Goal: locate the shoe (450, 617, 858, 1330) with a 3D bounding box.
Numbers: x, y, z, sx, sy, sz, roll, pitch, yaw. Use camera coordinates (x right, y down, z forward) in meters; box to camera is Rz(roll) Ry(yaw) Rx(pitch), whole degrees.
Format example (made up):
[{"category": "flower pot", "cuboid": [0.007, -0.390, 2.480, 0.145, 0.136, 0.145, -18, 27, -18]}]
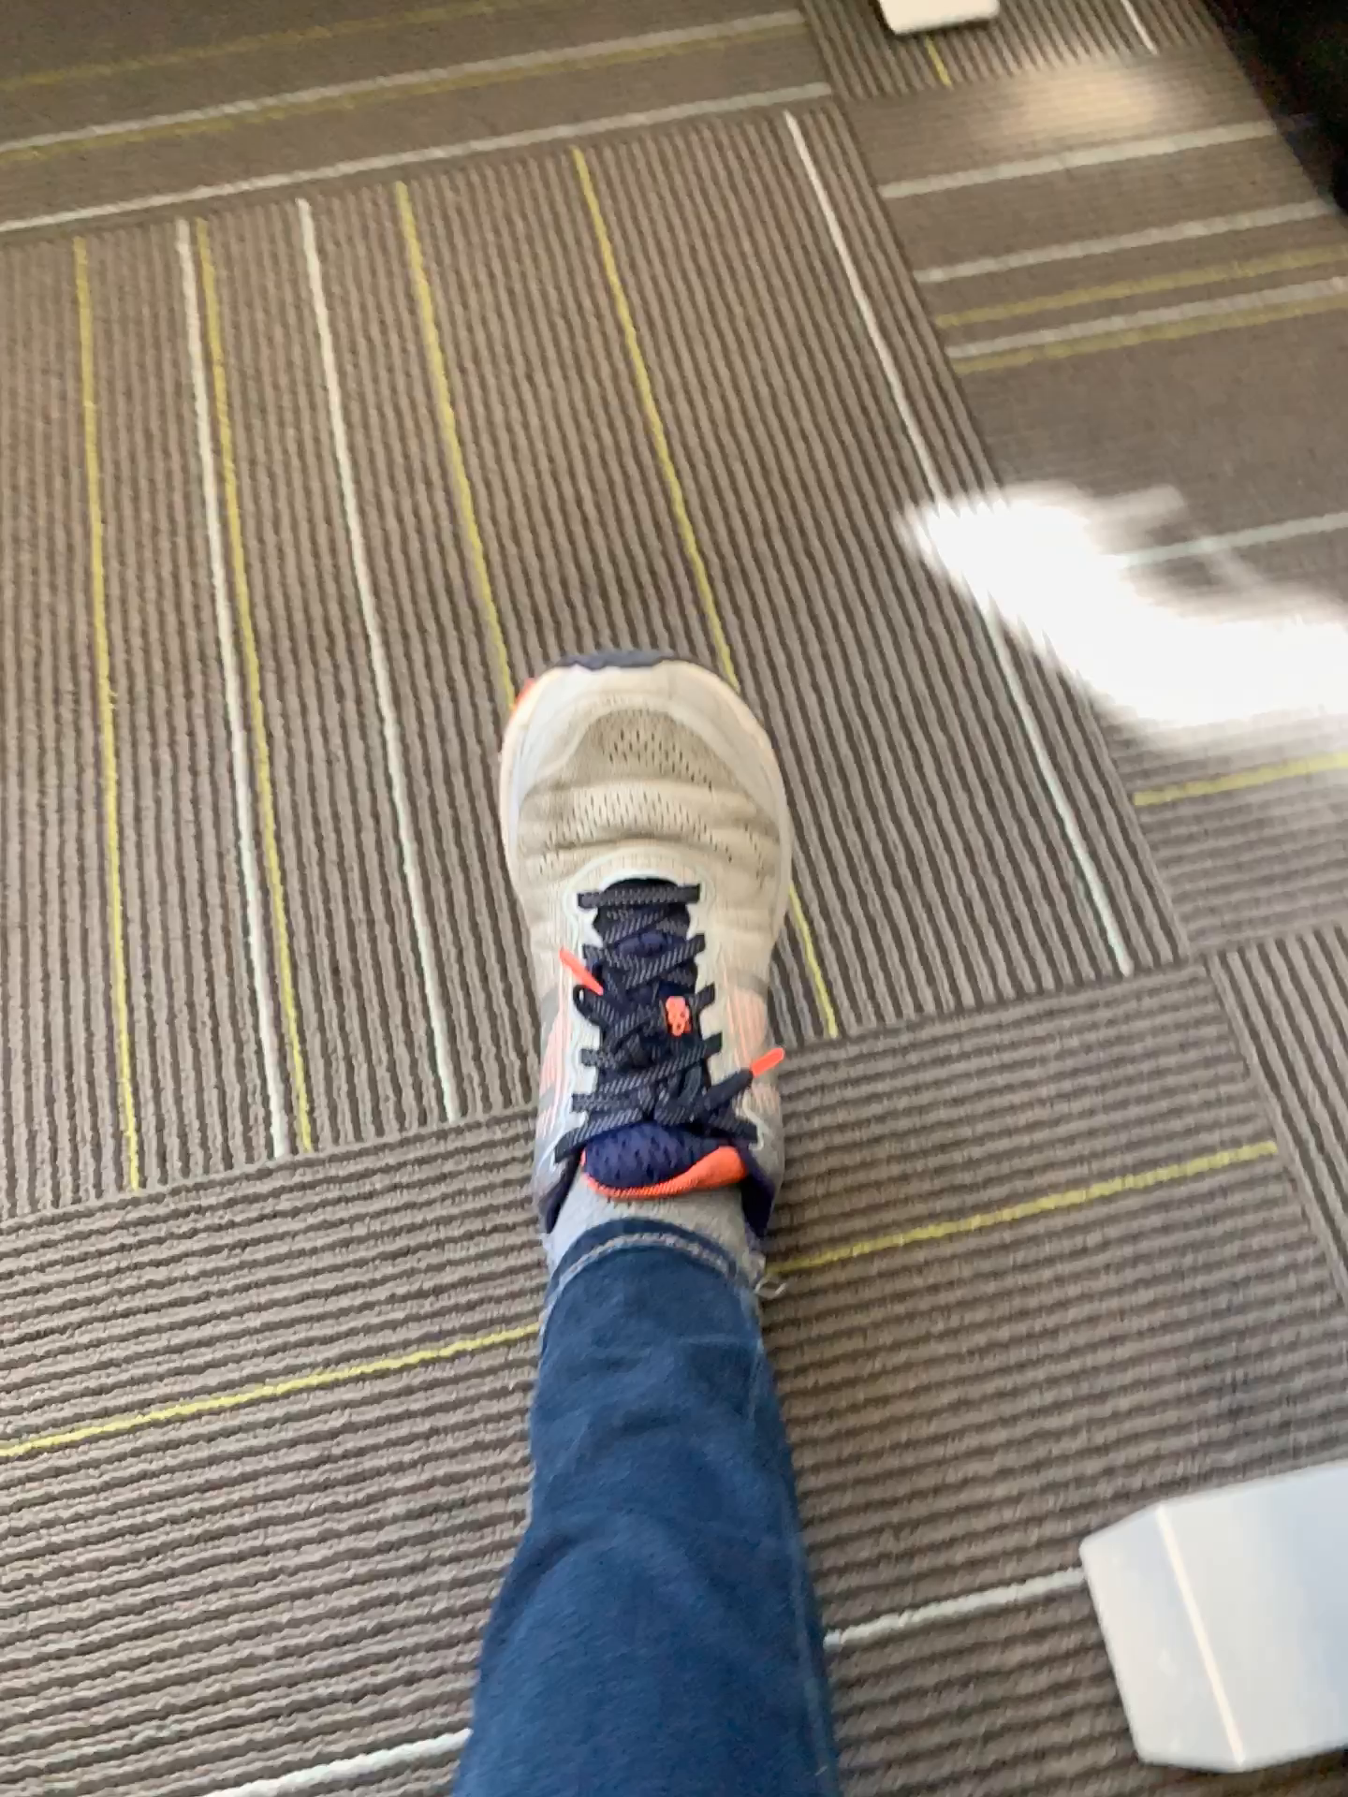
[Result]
[{"category": "shoe", "cuboid": [-0.003, 0.020, 0.502, 0.120, 0.110, 0.230, -3, 103, 0]}]
